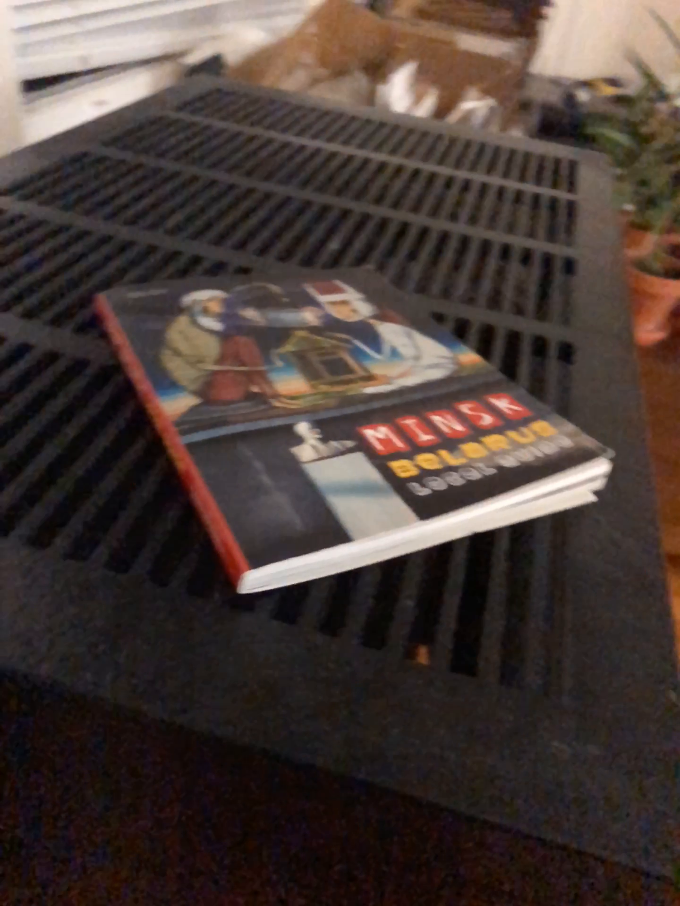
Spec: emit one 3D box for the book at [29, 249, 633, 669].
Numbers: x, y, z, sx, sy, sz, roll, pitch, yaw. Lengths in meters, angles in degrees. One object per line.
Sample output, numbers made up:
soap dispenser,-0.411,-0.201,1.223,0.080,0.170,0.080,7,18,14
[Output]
book,-0.019,-0.025,0.295,0.160,0.020,0.201,-12,41,-25
